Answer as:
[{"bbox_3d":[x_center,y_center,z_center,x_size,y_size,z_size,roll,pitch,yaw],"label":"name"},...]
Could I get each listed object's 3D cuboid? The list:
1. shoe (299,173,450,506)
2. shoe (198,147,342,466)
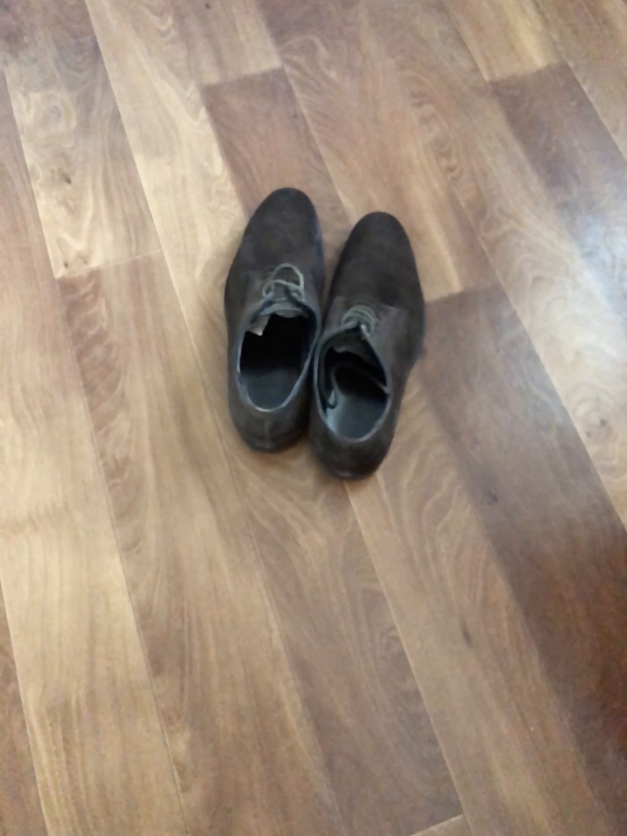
[{"bbox_3d":[0.062,-0.082,0.694,0.120,0.100,0.311,6,69,1],"label":"shoe"},{"bbox_3d":[-0.036,-0.116,0.710,0.120,0.100,0.311,2,69,0],"label":"shoe"}]
